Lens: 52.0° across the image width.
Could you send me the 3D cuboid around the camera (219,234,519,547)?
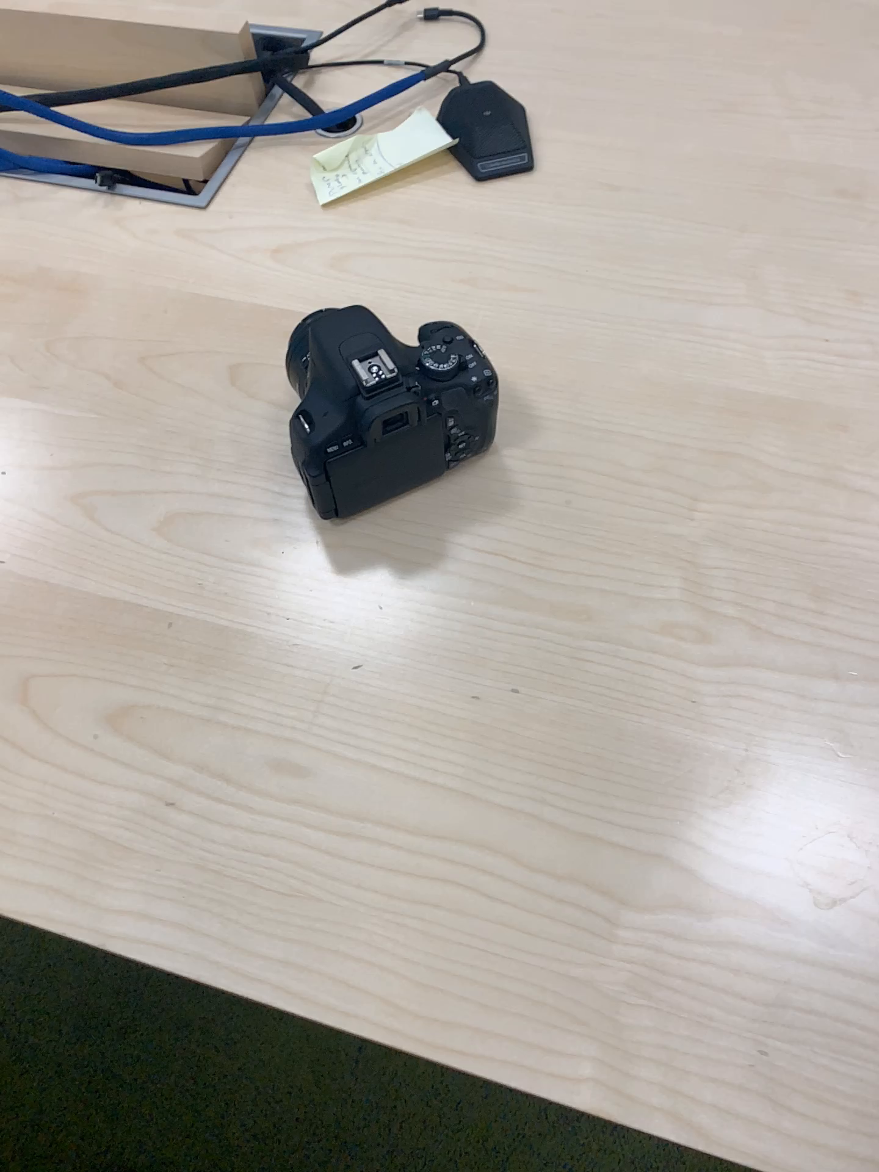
[{"bbox_3d":[-0.043,-0.126,0.579,0.140,0.100,0.123,-25,60,-12],"label":"camera"}]
